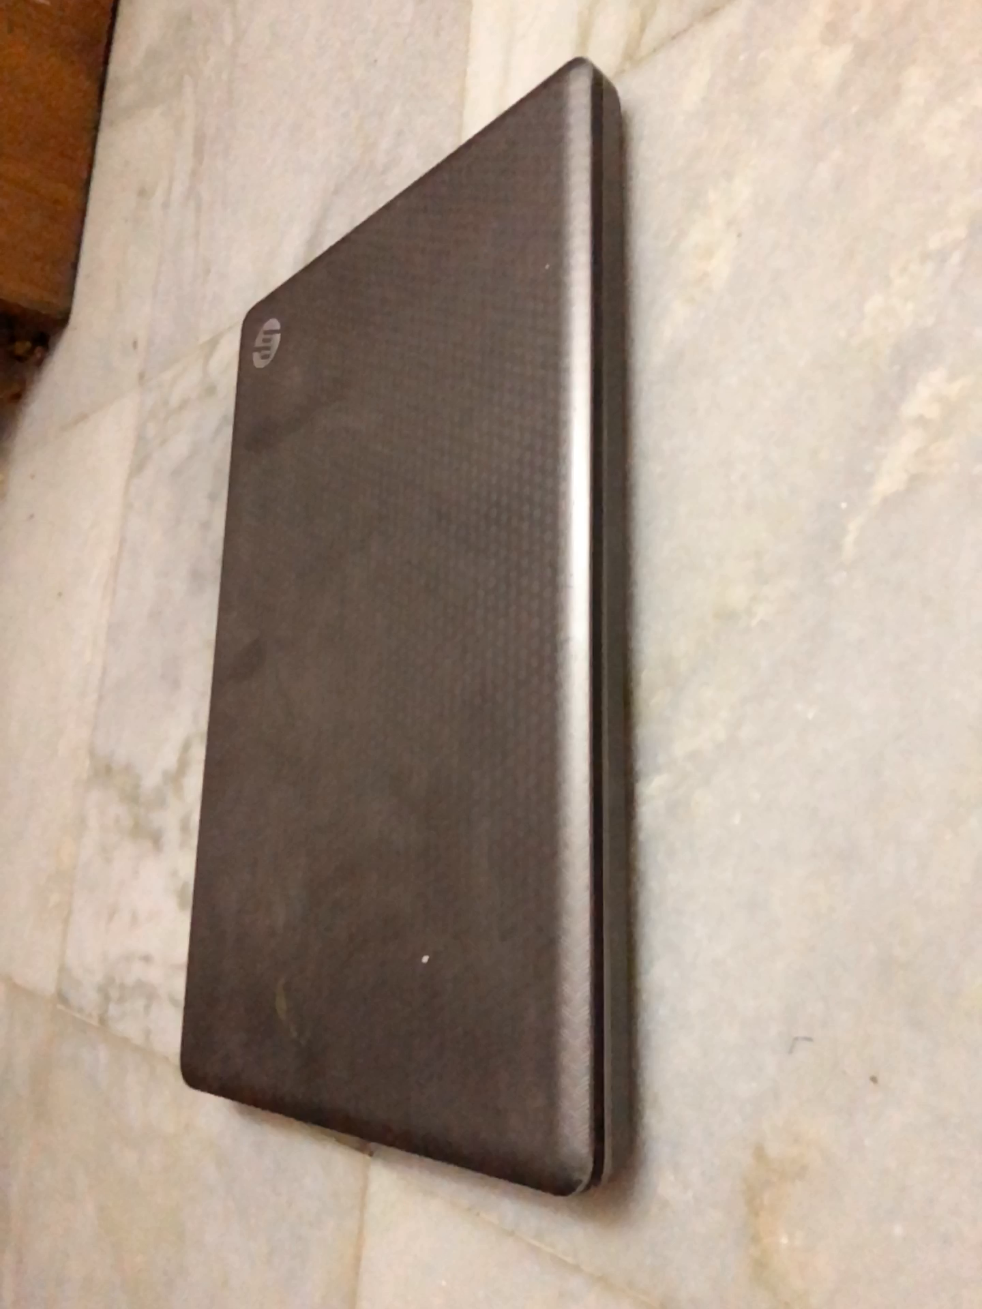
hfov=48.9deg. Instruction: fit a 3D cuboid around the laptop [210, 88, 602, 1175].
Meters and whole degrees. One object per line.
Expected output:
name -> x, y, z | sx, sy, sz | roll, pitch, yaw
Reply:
laptop -> -0.046, -0.009, 0.457 | 0.249, 0.002, 0.378 | -13, 71, 48
